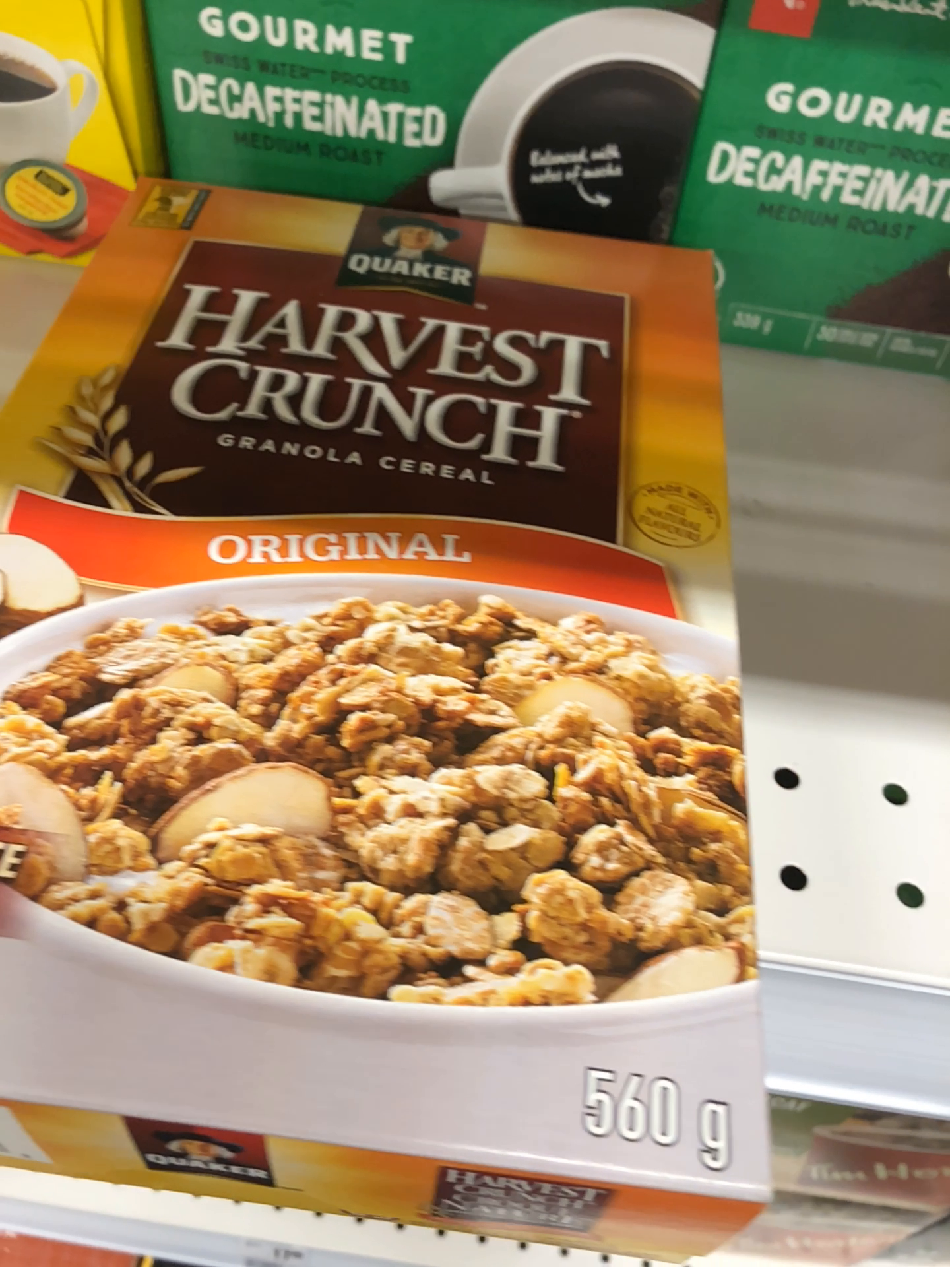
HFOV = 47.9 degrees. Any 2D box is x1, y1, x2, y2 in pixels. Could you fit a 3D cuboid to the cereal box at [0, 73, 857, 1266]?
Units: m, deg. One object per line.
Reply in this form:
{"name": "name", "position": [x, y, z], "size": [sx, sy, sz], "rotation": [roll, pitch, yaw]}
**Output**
{"name": "cereal box", "position": [-0.025, -0.028, 0.239], "size": [0.170, 0.050, 0.281], "rotation": [7, 50, 0]}
